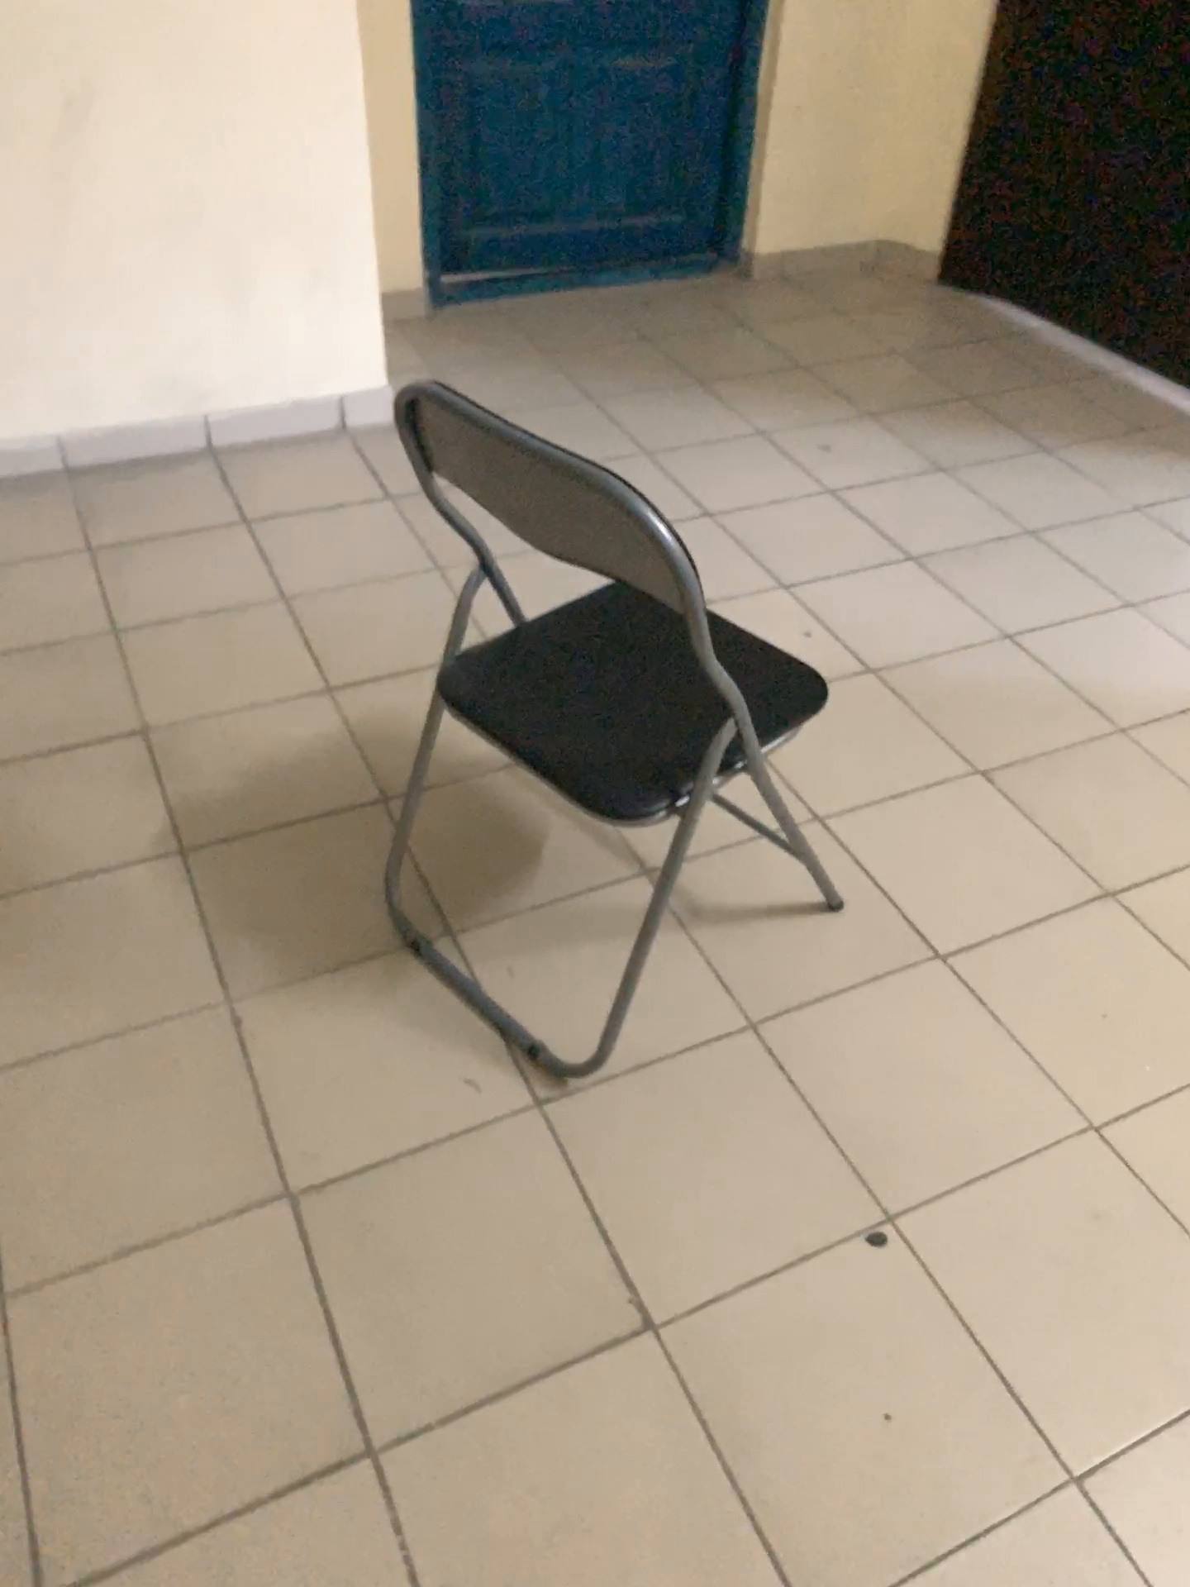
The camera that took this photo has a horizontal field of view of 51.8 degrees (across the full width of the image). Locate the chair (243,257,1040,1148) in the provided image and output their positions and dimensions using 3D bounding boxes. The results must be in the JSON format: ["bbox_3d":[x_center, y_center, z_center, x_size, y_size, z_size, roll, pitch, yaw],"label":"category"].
[{"bbox_3d":[0.028,-0.132,1.465,0.561,0.727,0.572,-29,51,-32],"label":"chair"}]
